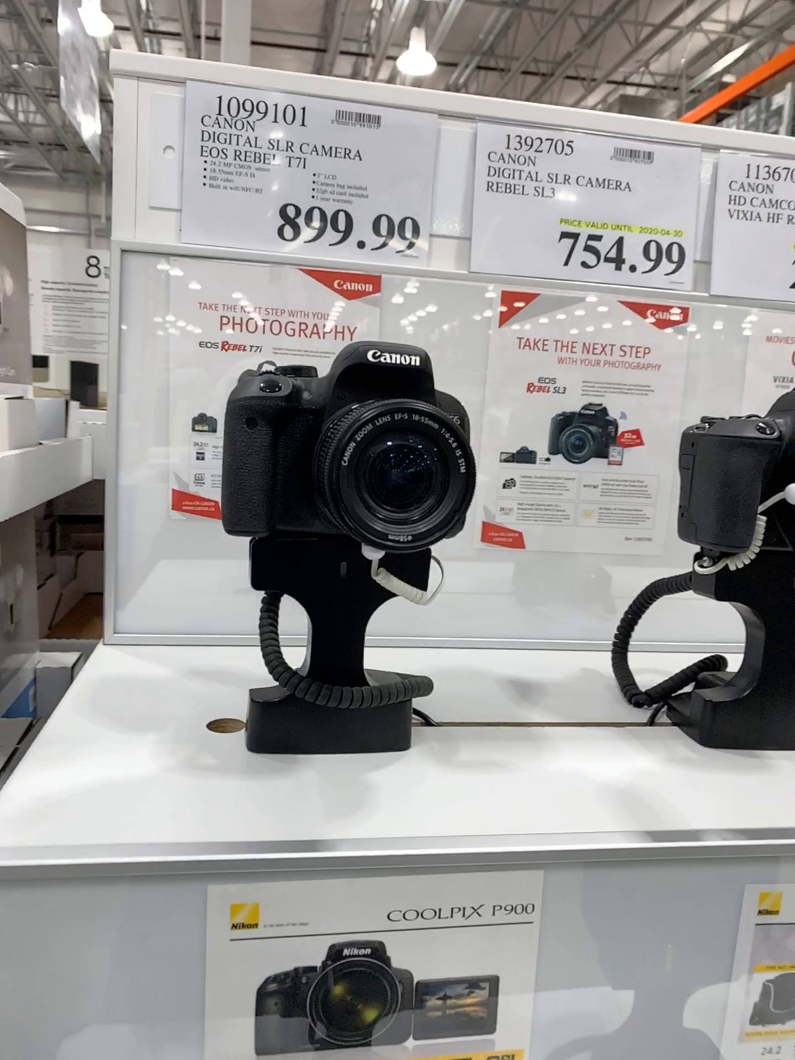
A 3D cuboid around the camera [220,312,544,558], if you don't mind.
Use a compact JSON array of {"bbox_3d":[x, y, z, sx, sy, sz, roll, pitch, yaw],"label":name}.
[{"bbox_3d":[-0.018,-0.046,0.405,0.132,0.096,0.129,1,8,-13],"label":"camera"}]
